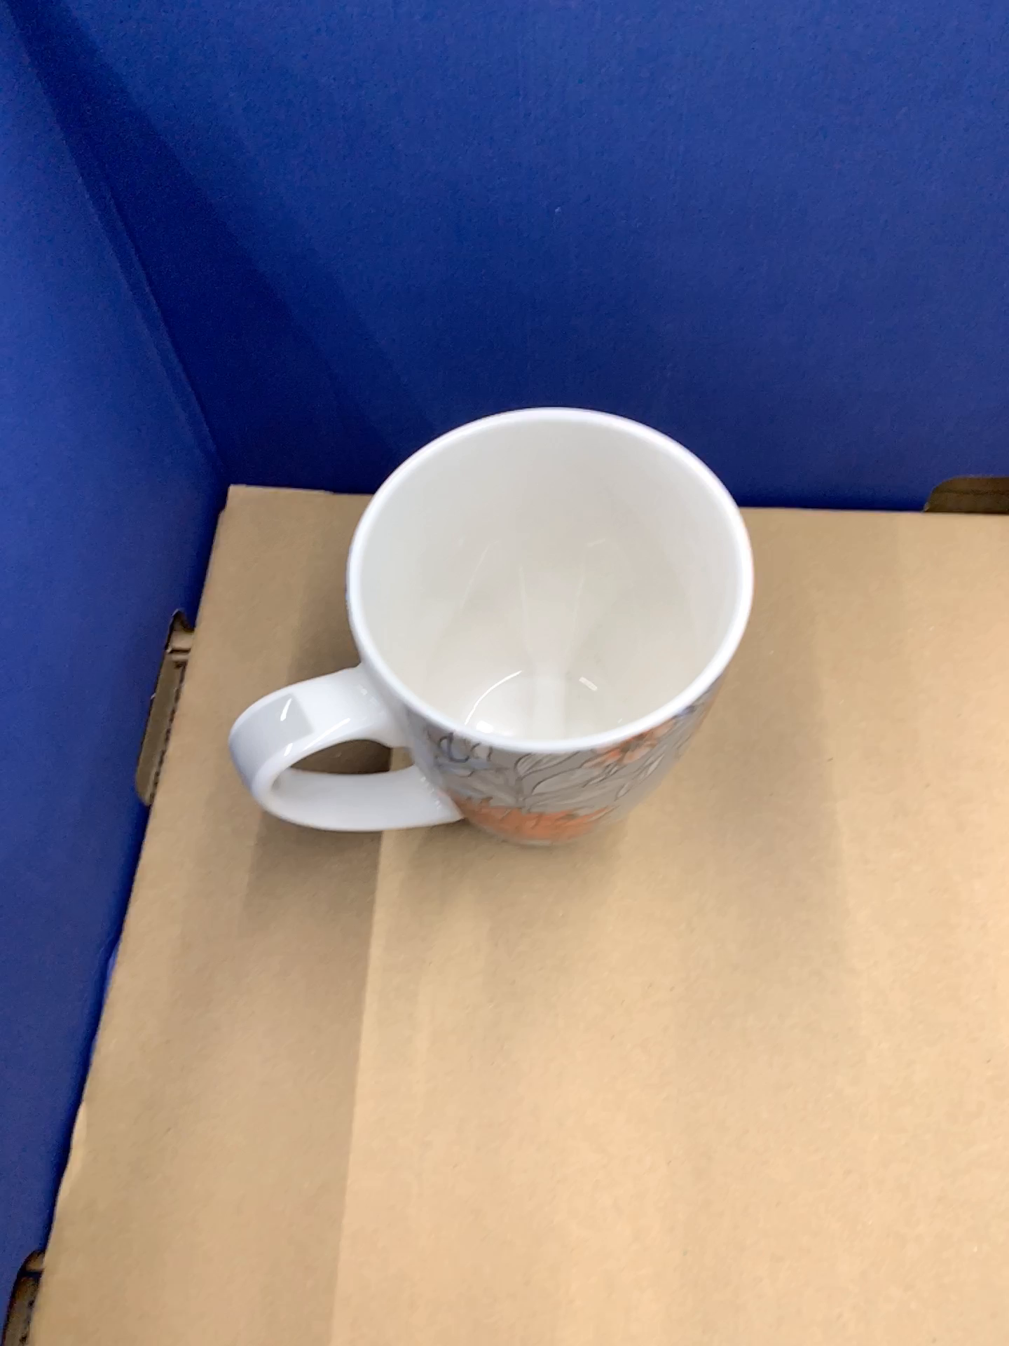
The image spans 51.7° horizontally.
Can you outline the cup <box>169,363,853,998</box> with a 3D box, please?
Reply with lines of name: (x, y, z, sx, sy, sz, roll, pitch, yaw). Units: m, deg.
cup: (-0.002, 0.004, 0.252, 0.117, 0.085, 0.092, -18, 60, -8)
